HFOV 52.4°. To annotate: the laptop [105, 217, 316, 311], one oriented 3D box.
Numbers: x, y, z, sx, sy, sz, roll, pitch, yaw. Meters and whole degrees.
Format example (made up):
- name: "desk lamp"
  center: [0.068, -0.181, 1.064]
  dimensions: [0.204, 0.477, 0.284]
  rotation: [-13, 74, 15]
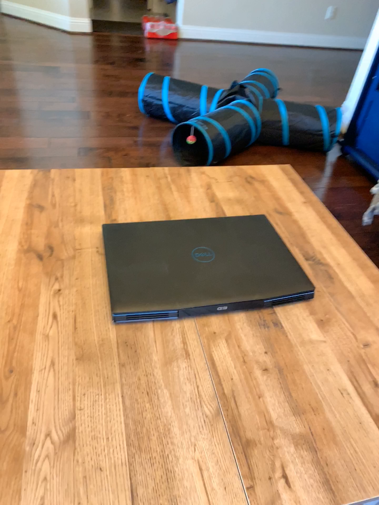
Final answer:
- name: "laptop"
  center: [0.027, 0.006, 0.723]
  dimensions: [0.346, 0.001, 0.228]
  rotation: [-4, 41, -13]
